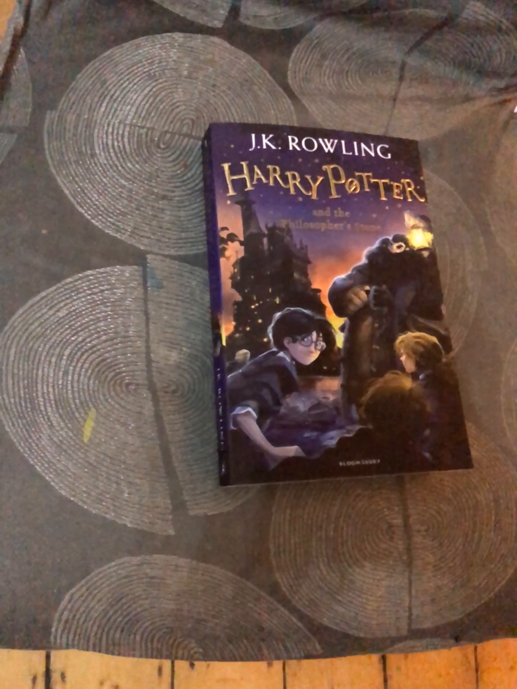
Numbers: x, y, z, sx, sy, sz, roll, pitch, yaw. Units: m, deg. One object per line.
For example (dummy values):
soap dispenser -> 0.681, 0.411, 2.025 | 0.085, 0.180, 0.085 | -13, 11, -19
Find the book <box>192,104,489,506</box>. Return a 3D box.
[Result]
book -> 0.042, -0.024, 0.326 | 0.140, 0.040, 0.210 | 0, 75, -21
